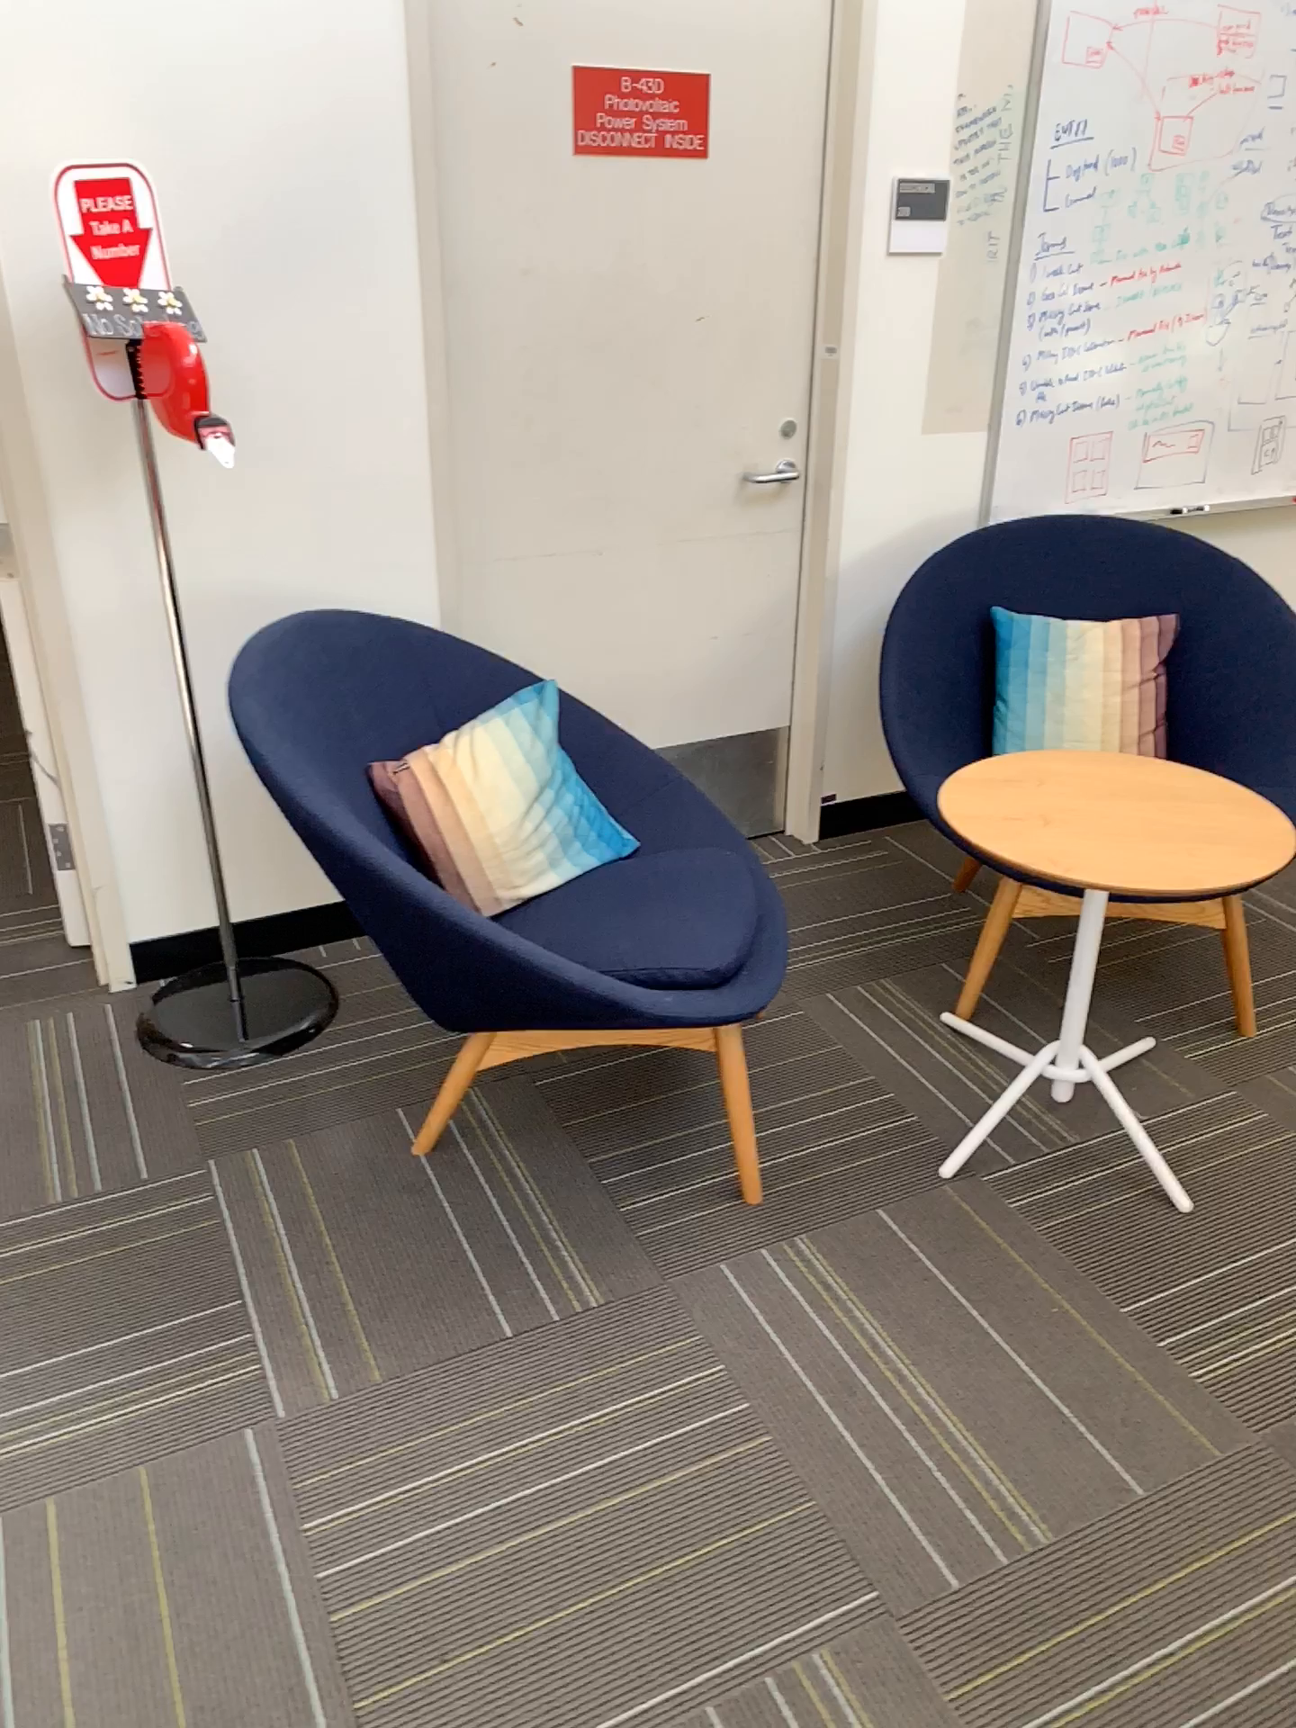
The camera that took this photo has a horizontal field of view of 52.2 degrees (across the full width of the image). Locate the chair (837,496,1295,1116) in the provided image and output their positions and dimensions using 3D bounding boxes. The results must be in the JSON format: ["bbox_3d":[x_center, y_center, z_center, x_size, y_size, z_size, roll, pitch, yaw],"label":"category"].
[{"bbox_3d":[0.925,-0.200,2.866,0.831,0.945,0.985,7,27,13],"label":"chair"}]

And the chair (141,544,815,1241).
[{"bbox_3d":[-0.202,-0.017,2.255,0.841,0.835,0.794,6,26,11],"label":"chair"}]
